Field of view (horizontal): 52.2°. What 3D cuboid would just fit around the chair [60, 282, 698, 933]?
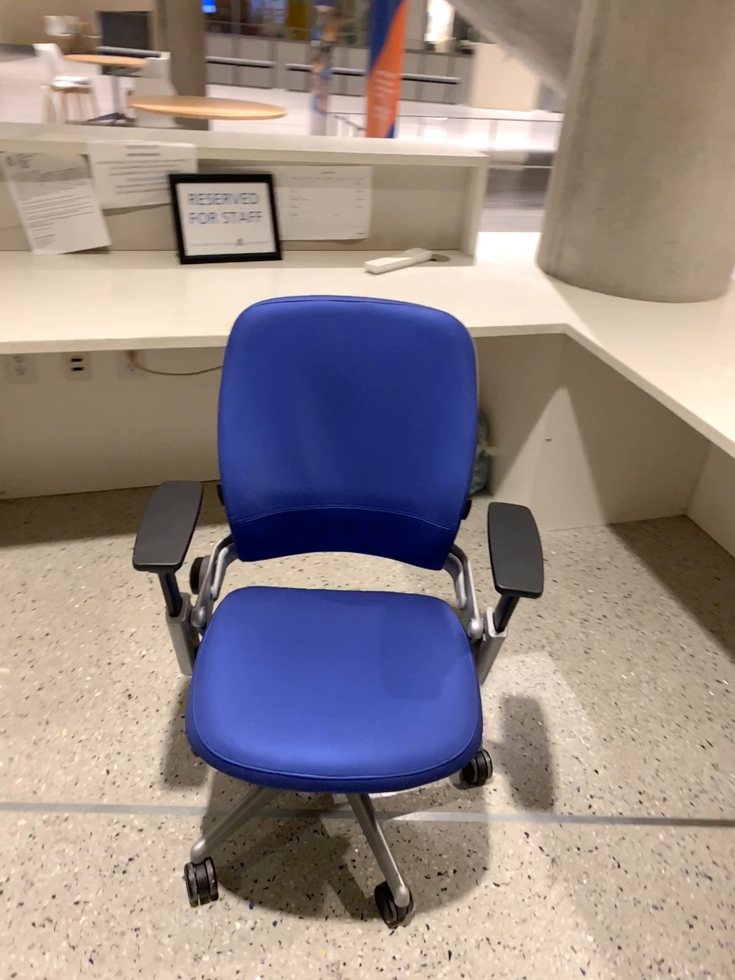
[{"bbox_3d":[-0.022,0.194,1.306,0.686,0.879,0.653,3,31,-4],"label":"chair"}]
